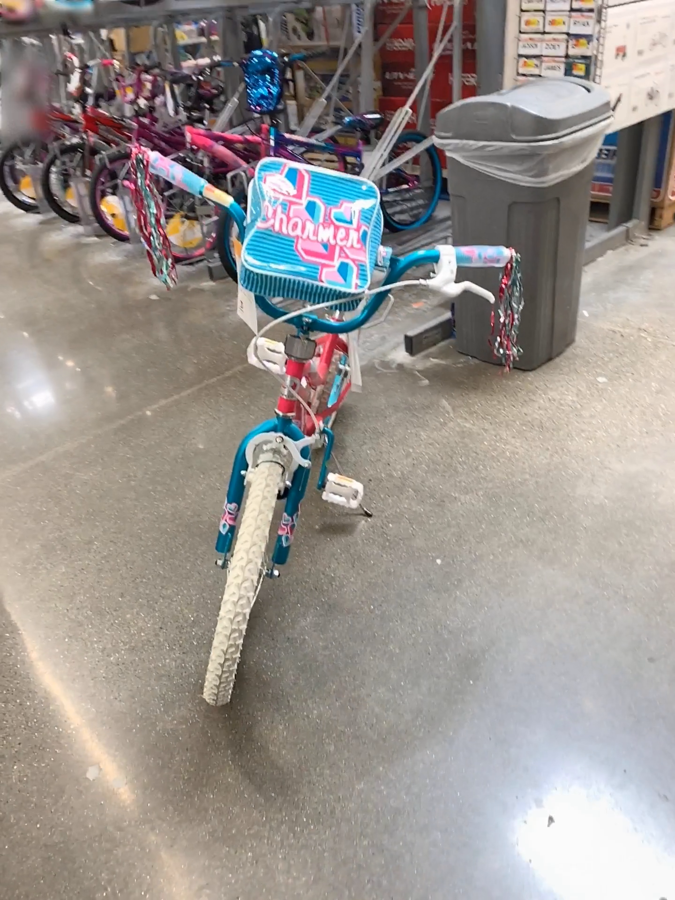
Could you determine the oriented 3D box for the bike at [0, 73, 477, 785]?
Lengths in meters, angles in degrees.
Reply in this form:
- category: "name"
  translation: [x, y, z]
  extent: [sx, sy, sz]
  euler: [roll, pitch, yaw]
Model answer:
- category: "bike"
  translation: [-0.057, -0.154, 1.540]
  extent: [0.652, 0.929, 1.268]
  euler: [1, 37, 12]
